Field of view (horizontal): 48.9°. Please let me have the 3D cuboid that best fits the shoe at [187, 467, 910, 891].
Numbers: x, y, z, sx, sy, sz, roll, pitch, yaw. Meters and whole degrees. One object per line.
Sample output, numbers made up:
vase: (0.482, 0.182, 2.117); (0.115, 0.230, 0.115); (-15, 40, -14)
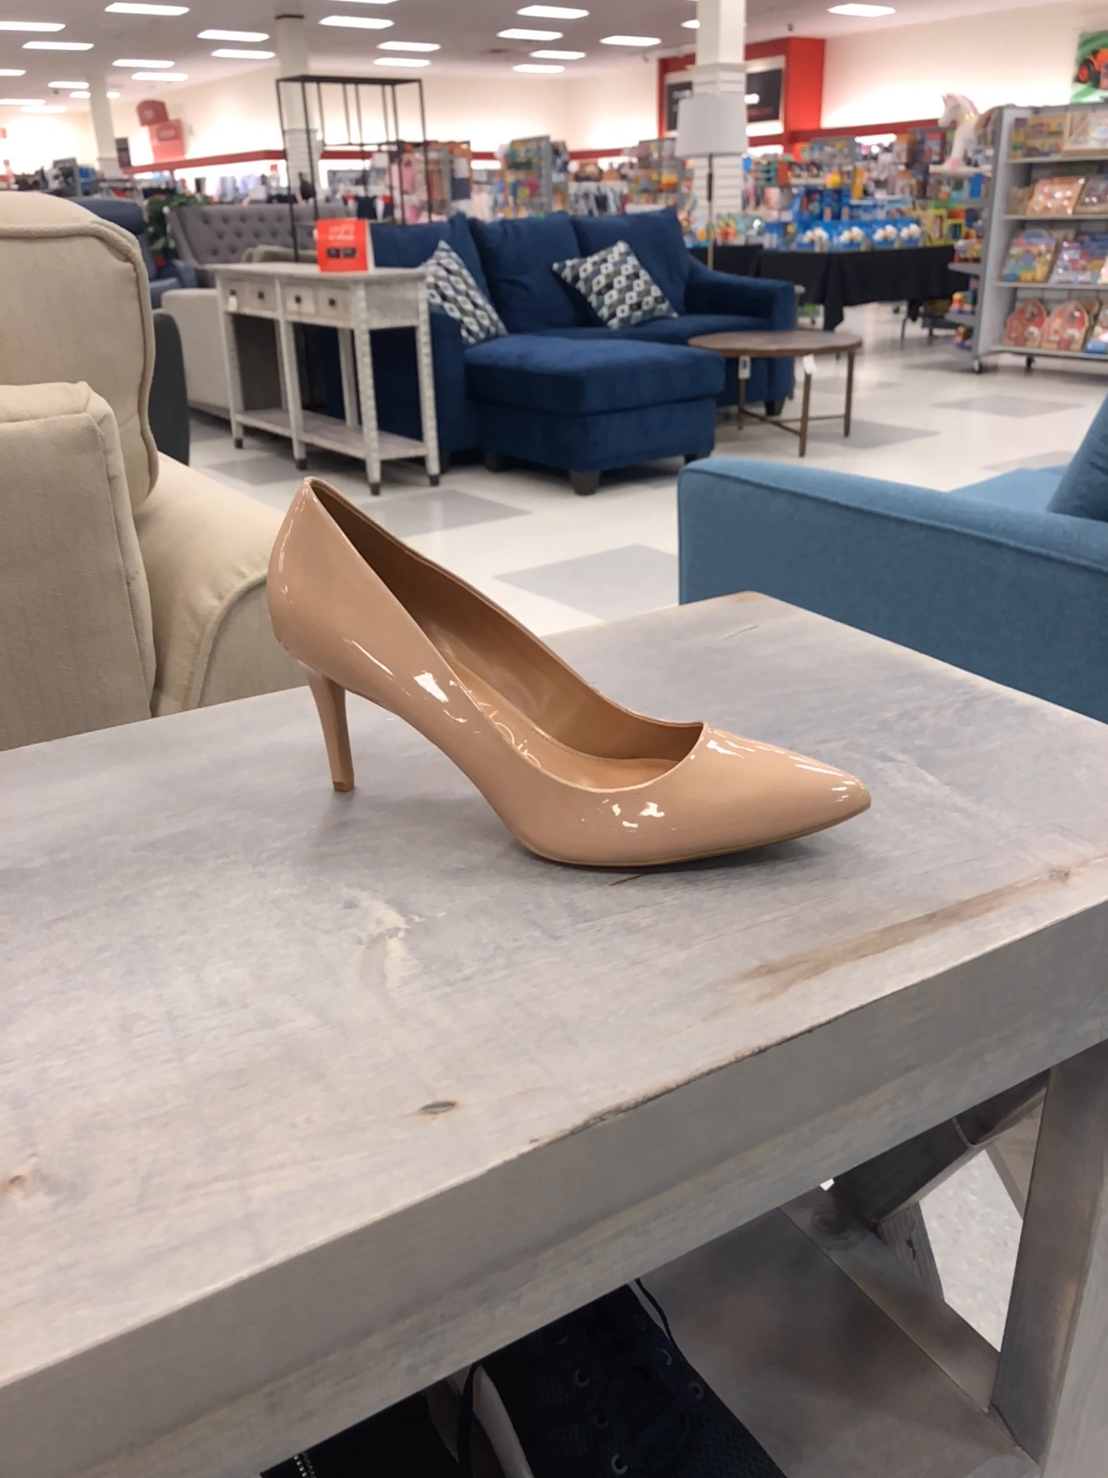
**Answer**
shoe: (0.002, -0.034, 0.504); (0.267, 0.129, 0.097); (5, 24, 16)
